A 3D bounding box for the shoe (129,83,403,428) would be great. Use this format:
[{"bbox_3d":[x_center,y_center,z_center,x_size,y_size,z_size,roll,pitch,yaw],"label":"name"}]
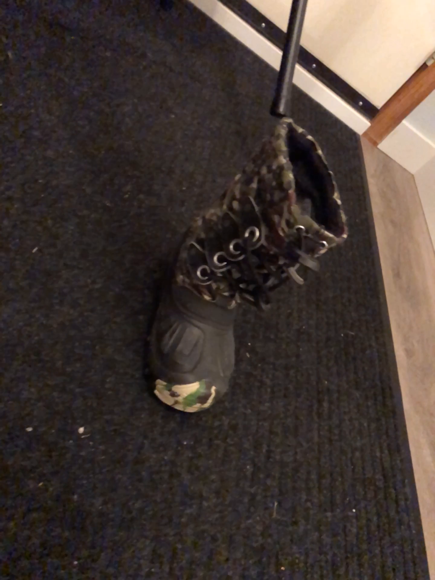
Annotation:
[{"bbox_3d":[0.020,-0.023,0.429,0.100,0.209,0.200,21,44,-26],"label":"shoe"}]
